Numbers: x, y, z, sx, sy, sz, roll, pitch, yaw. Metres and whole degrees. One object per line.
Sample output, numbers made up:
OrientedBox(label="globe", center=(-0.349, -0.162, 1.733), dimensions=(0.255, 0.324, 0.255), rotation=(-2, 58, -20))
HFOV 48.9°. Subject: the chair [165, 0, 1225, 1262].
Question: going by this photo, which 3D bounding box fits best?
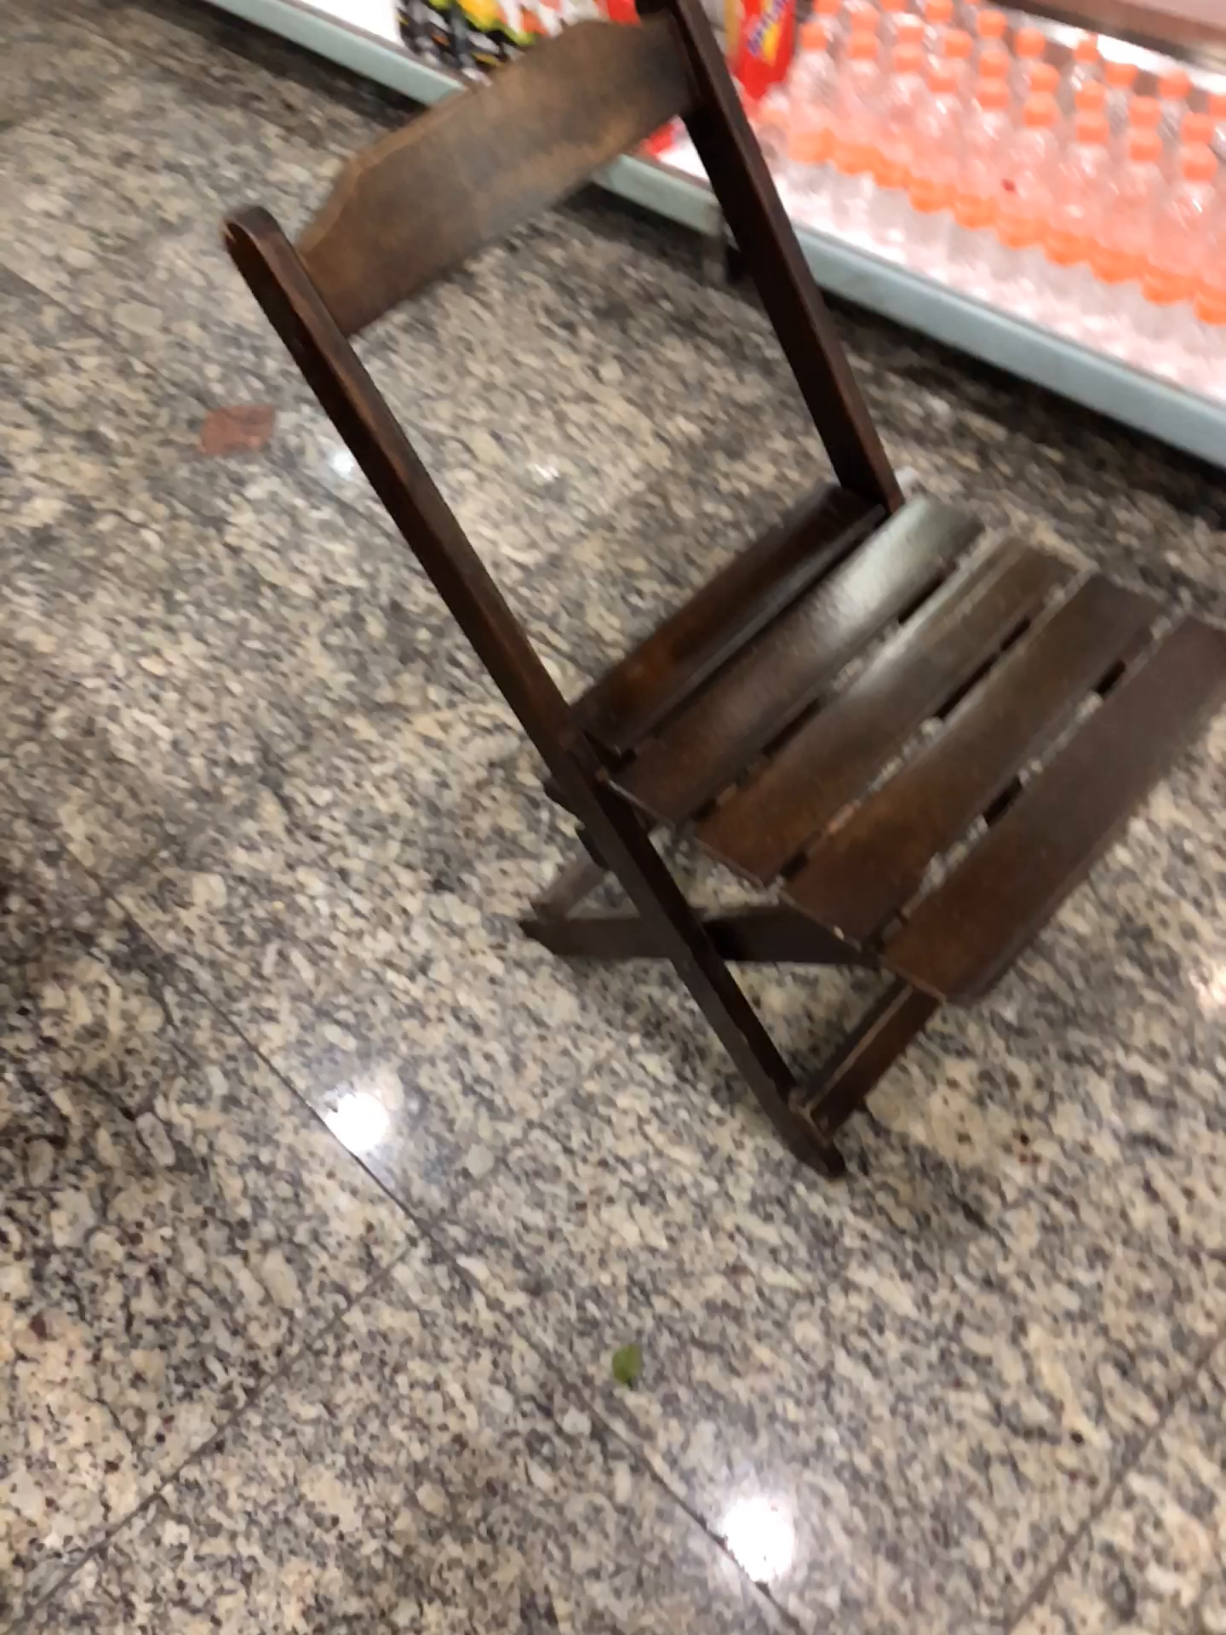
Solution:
OrientedBox(label="chair", center=(0.124, -0.125, 1.026), dimensions=(0.552, 0.706, 0.441), rotation=(33, 64, 27))
